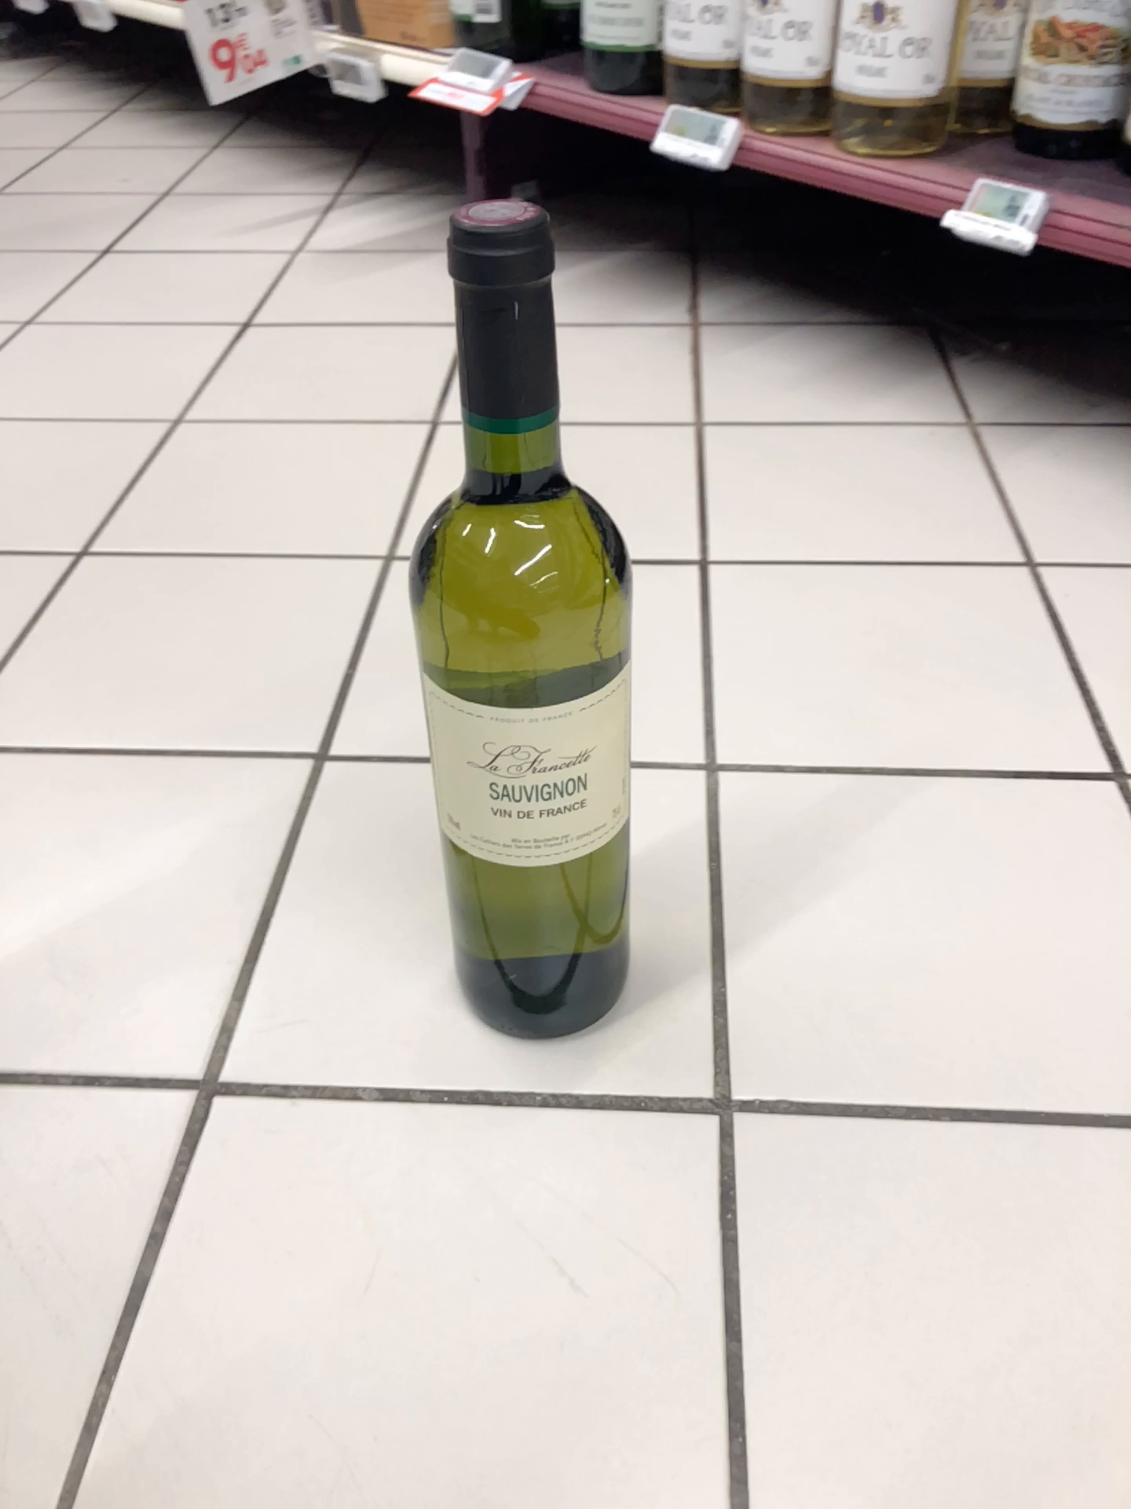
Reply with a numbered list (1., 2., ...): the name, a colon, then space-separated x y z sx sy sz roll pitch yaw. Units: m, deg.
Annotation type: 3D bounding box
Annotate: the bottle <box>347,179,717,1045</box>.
1. bottle: -0.006 -0.030 0.429 0.090 0.288 0.091 -1 39 1
